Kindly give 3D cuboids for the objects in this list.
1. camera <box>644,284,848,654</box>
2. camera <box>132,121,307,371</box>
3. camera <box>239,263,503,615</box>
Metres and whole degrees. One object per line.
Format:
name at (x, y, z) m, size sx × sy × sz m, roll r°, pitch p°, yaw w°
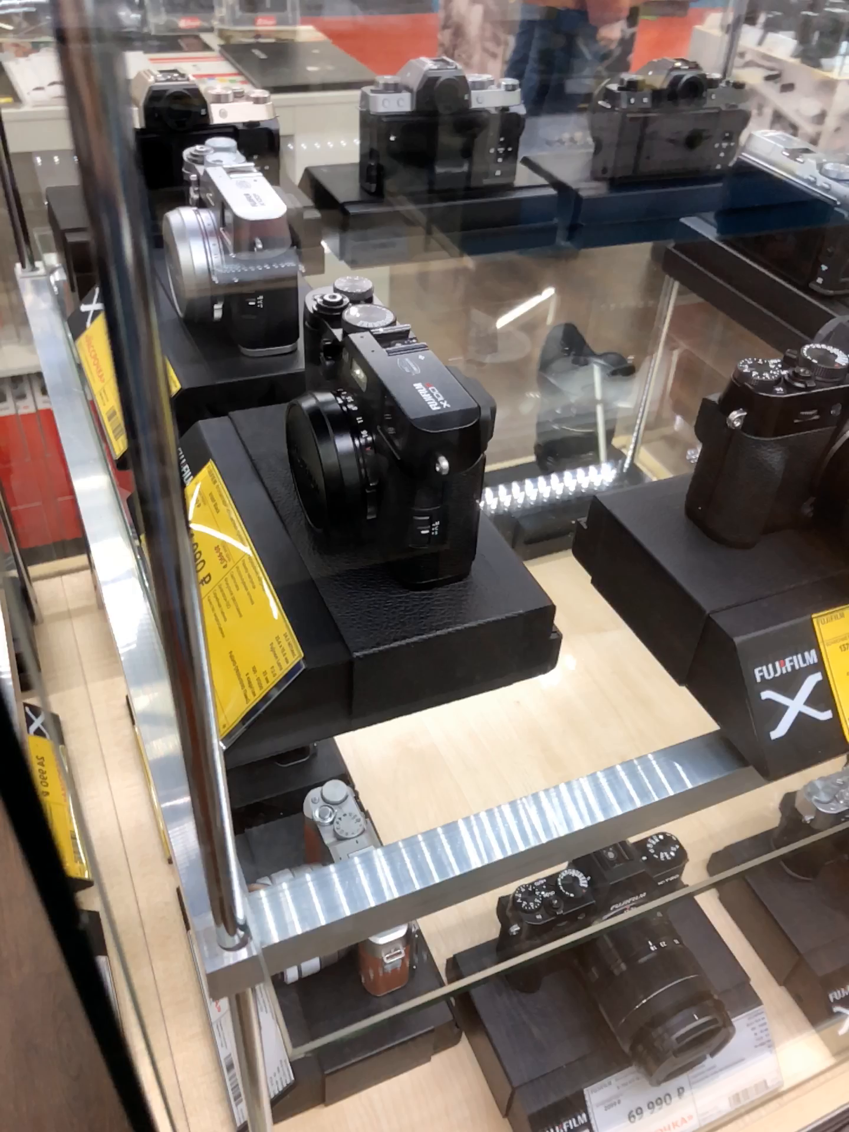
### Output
camera at (0.179, -0.045, 0.371) m, size 0.131 × 0.080 × 0.104 m, roll -13°, pitch 43°, yaw -20°
camera at (-0.110, -0.174, 0.499) m, size 0.054 × 0.080 × 0.131 m, roll -13°, pitch 43°, yaw -20°
camera at (-0.027, -0.056, 0.374) m, size 0.054 × 0.075 × 0.131 m, roll -13°, pitch 43°, yaw -20°
